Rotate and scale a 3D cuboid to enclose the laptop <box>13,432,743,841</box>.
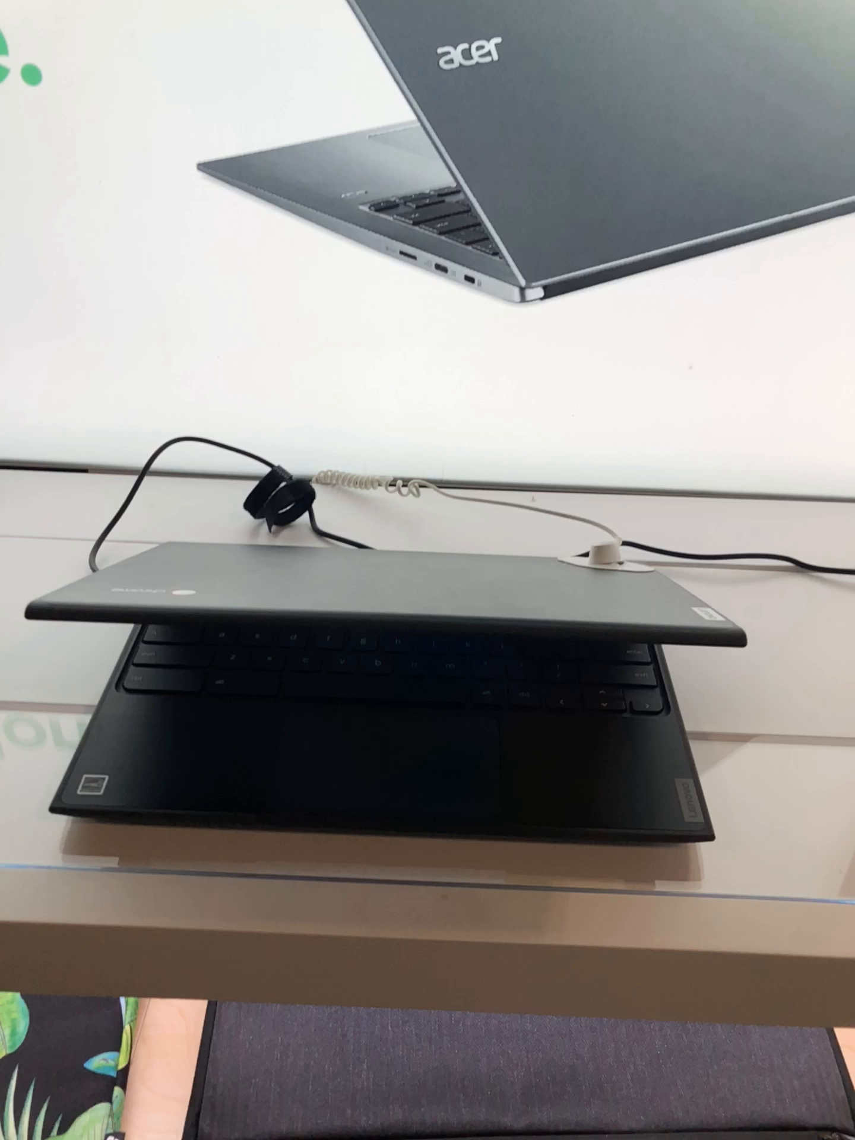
[{"bbox_3d":[-0.021,0.018,0.447,0.277,0.072,0.187,2,37,3],"label":"laptop"}]
